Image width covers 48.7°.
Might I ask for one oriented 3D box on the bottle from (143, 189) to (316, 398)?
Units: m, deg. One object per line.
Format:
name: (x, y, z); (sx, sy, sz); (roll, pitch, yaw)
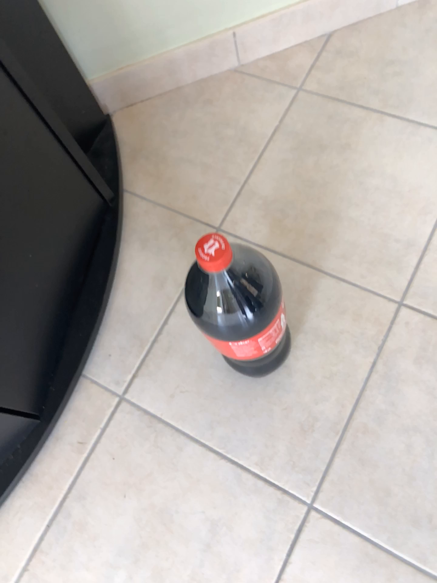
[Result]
bottle: (0.036, 0.027, 0.532); (0.110, 0.309, 0.100); (-4, 69, 10)
